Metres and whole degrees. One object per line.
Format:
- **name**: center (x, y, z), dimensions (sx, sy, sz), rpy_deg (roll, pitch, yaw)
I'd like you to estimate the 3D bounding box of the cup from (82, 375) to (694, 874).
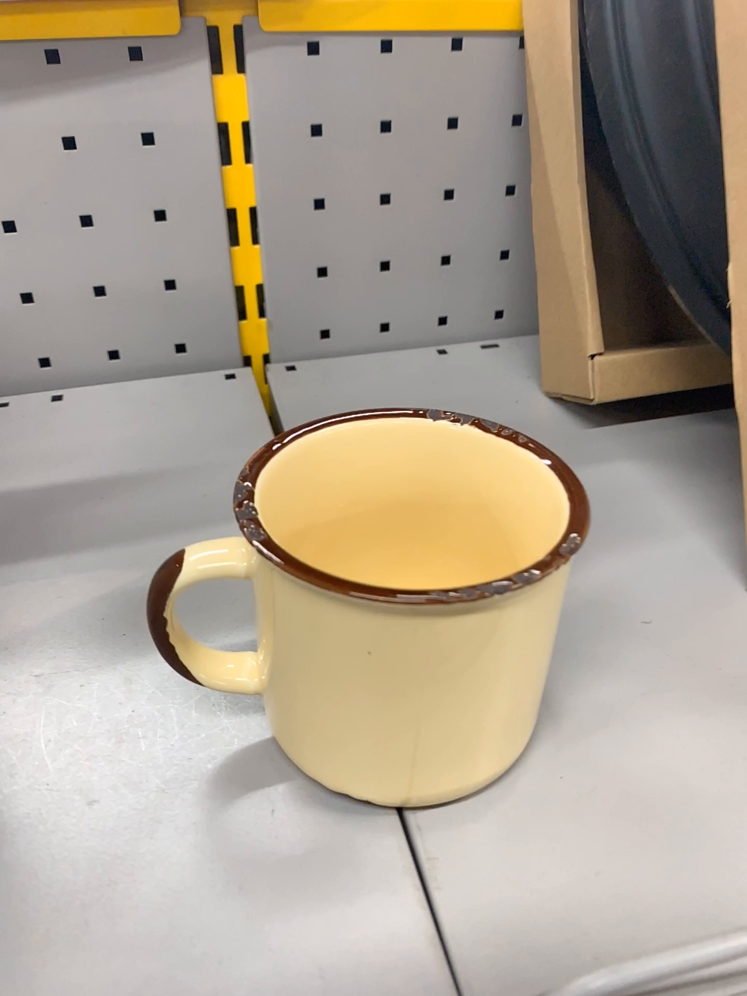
- **cup**: center (-0.001, 0.027, 0.208), dimensions (0.120, 0.080, 0.090), rpy_deg (-5, 35, -8)
